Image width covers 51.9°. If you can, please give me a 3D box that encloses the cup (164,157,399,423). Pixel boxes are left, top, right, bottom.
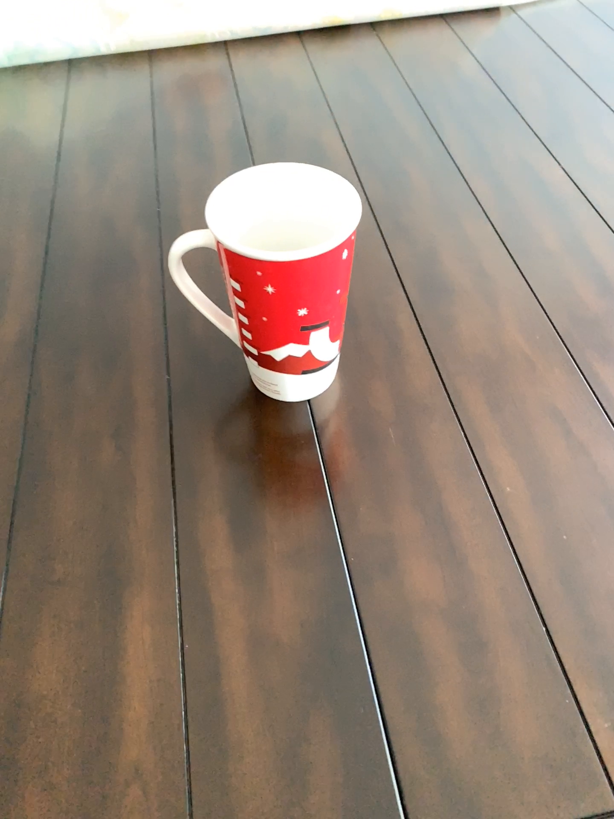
[{"bbox_3d":[-0.021,-0.085,0.449,0.130,0.120,0.120,-1,51,1],"label":"cup"}]

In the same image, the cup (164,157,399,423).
[{"bbox_3d":[-0.021,-0.085,0.449,0.130,0.120,0.120,-1,51,1],"label":"cup"}]
